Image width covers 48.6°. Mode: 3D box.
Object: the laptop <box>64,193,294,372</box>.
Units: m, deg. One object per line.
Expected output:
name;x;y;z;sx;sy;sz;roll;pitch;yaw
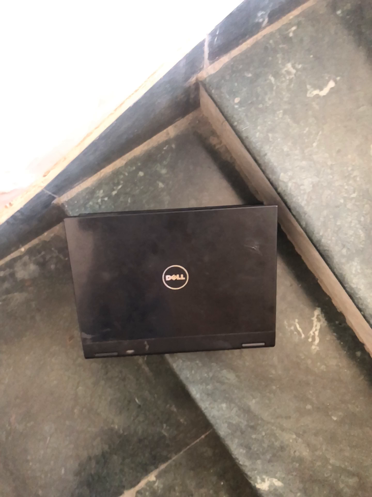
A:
laptop;-0.012;0.047;0.621;0.302;0.095;0.232;-4;87;-2
